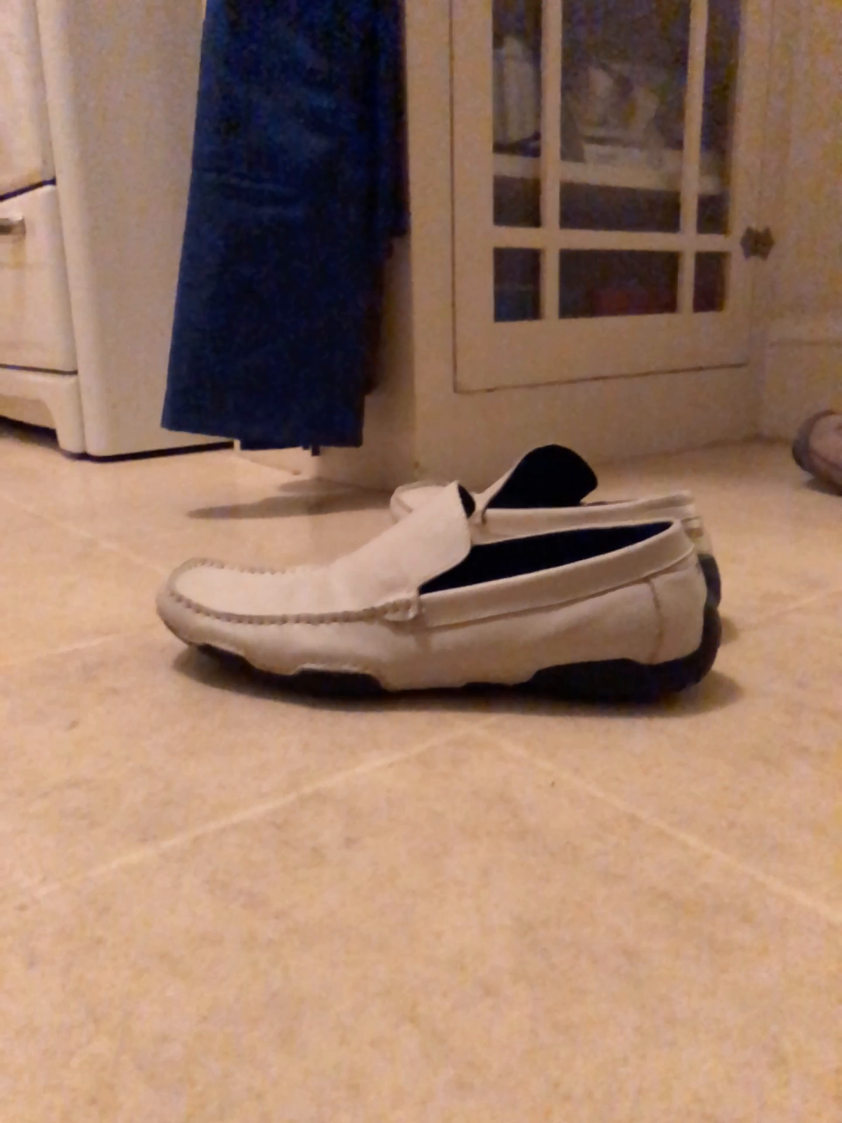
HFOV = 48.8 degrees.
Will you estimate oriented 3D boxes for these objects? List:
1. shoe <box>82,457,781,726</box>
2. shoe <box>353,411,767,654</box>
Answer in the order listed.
[{"bbox_3d":[0.005,0.006,0.466,0.306,0.097,0.111,2,15,9],"label":"shoe"},{"bbox_3d":[0.072,-0.037,0.621,0.111,0.097,0.290,-10,17,-30],"label":"shoe"}]
